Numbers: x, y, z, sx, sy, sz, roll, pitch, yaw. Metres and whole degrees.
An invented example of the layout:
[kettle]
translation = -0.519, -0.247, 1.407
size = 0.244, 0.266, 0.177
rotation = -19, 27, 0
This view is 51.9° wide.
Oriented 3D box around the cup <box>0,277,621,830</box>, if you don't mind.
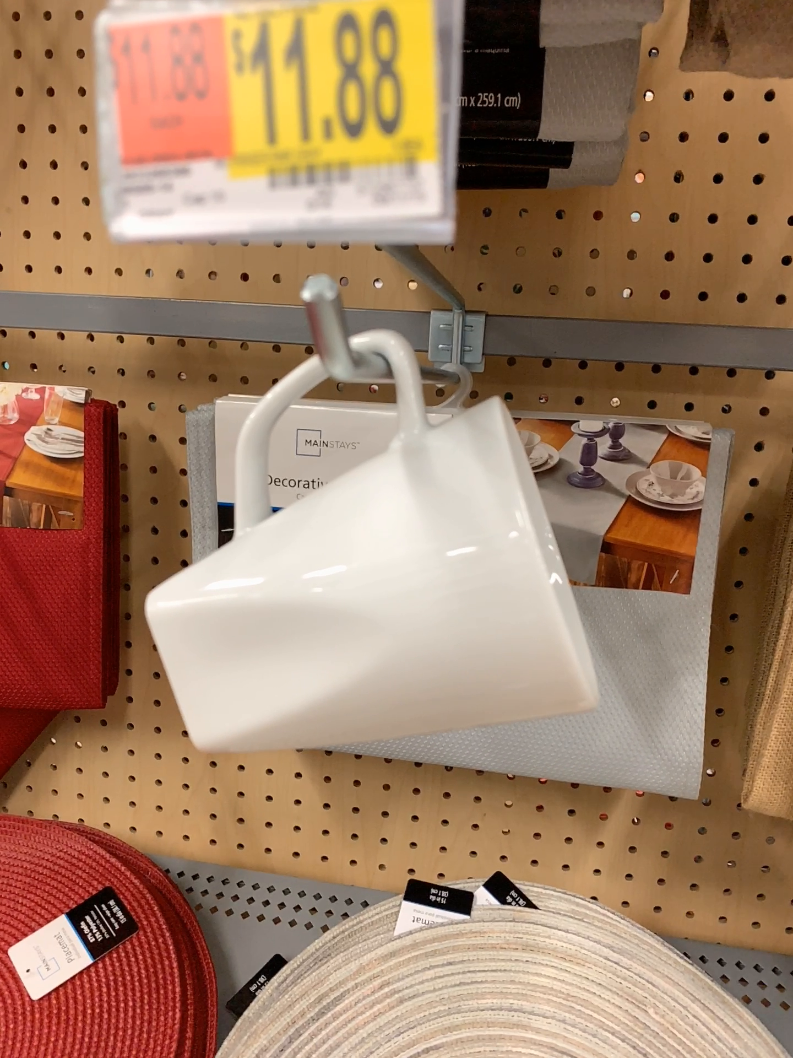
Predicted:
[cup]
translation = -0.017, 0.004, 0.240
size = 0.140, 0.120, 0.090
rotation = -9, 12, 13
